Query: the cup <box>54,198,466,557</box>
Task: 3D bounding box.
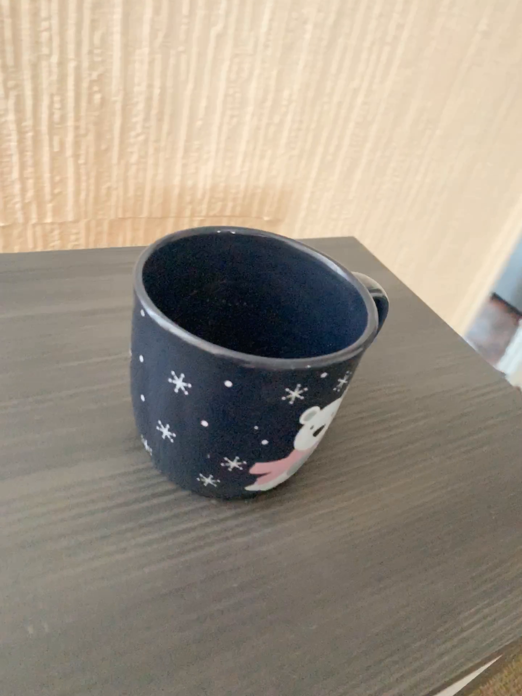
[{"bbox_3d":[-0.003,-0.002,0.230,0.131,0.069,0.101,-20,50,-37],"label":"cup"}]
